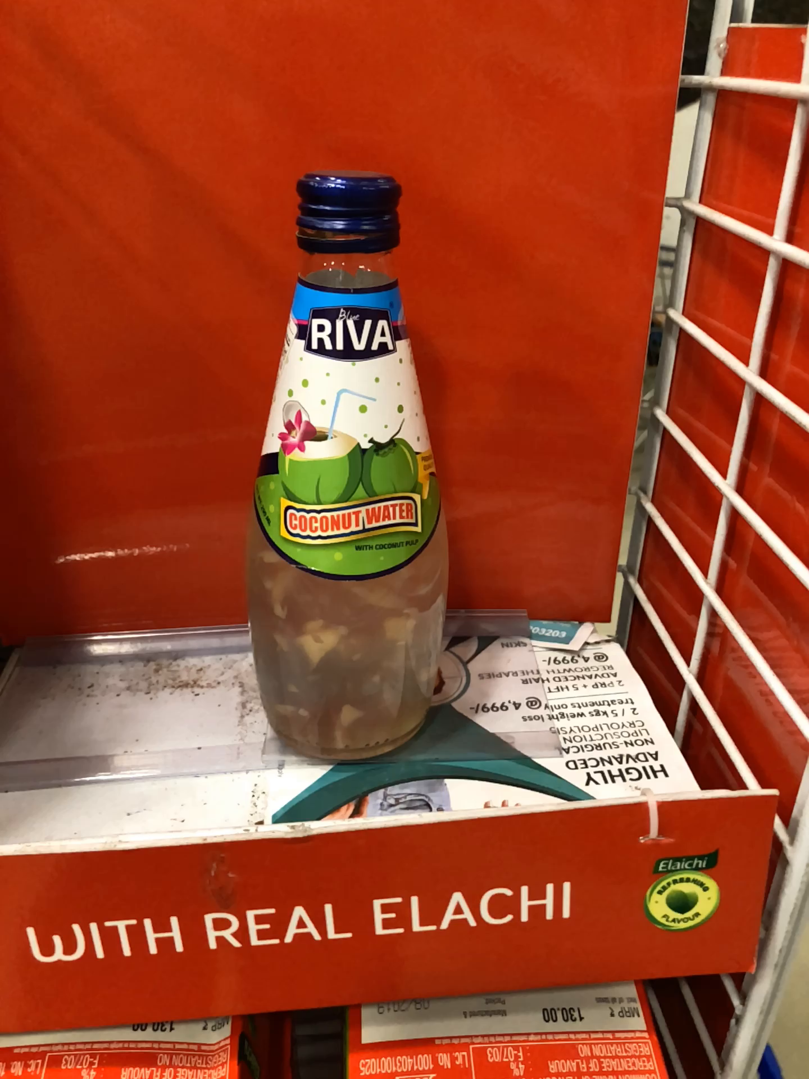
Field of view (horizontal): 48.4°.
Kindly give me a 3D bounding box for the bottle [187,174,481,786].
[{"bbox_3d":[-0.020,-0.015,0.282,0.070,0.179,0.060,-3,28,-7],"label":"bottle"}]
